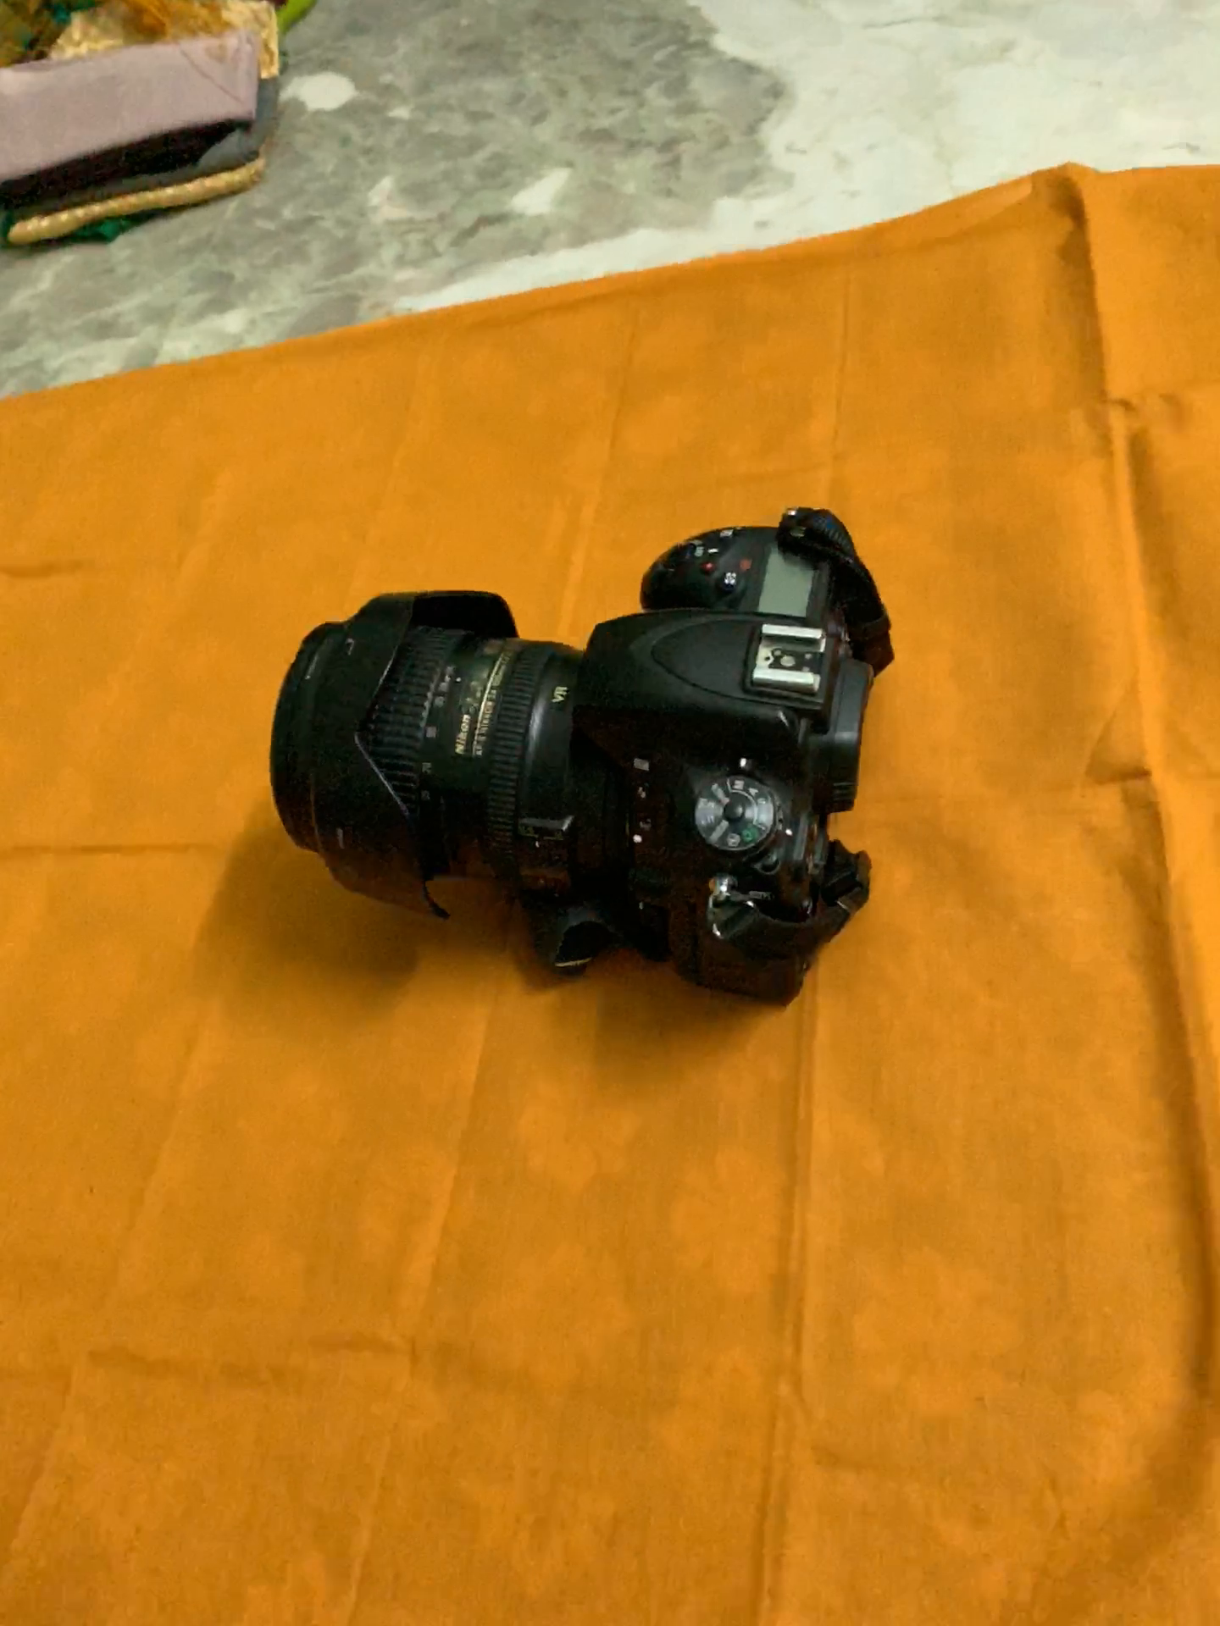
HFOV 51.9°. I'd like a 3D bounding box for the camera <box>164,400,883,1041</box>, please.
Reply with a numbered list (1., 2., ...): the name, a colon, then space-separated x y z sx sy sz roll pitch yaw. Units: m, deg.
1. camera: -0.011 -0.026 0.395 0.170 0.110 0.152 -1 54 20
